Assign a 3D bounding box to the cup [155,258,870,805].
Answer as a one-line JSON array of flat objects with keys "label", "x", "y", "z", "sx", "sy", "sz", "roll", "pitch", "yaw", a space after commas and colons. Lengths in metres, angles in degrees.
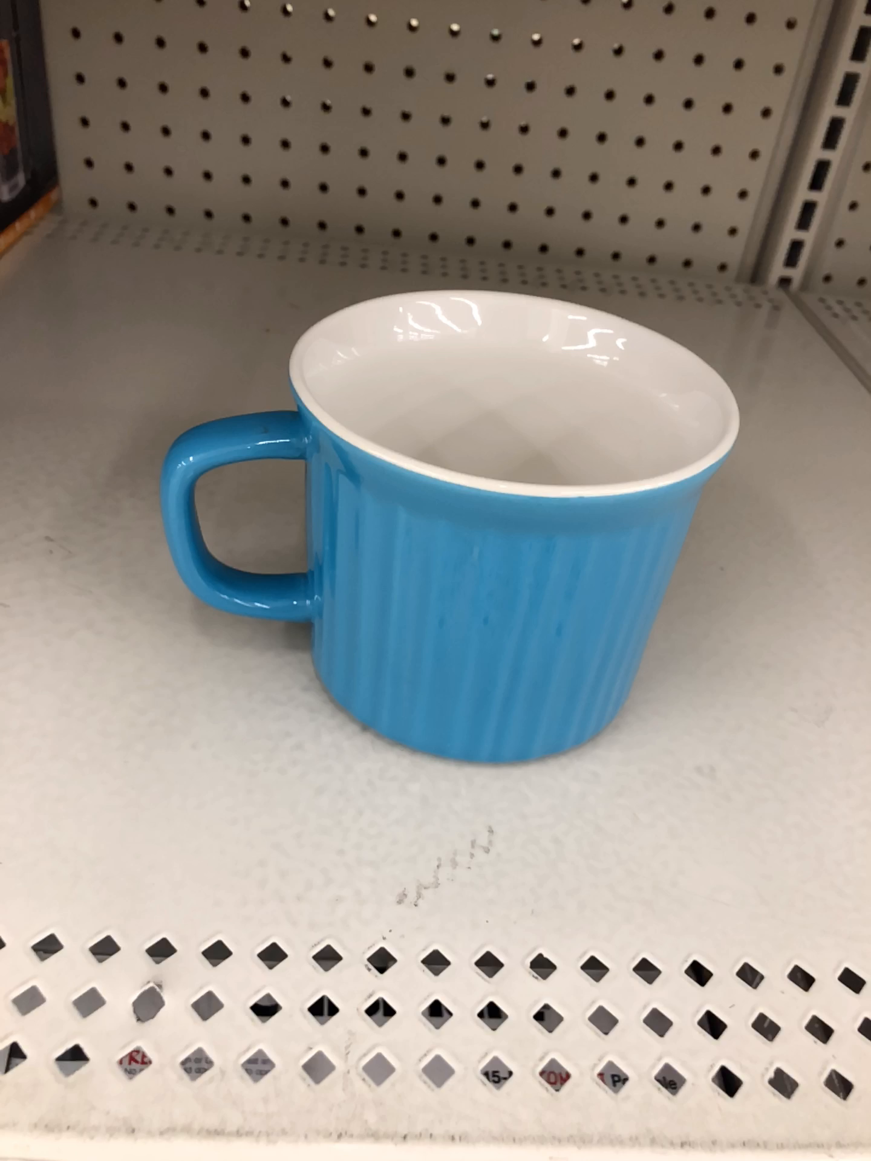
[{"label": "cup", "x": 0.006, "y": -0.024, "z": 0.284, "sx": 0.161, "sy": 0.093, "sz": 0.126, "roll": -4, "pitch": 38, "yaw": -14}]
